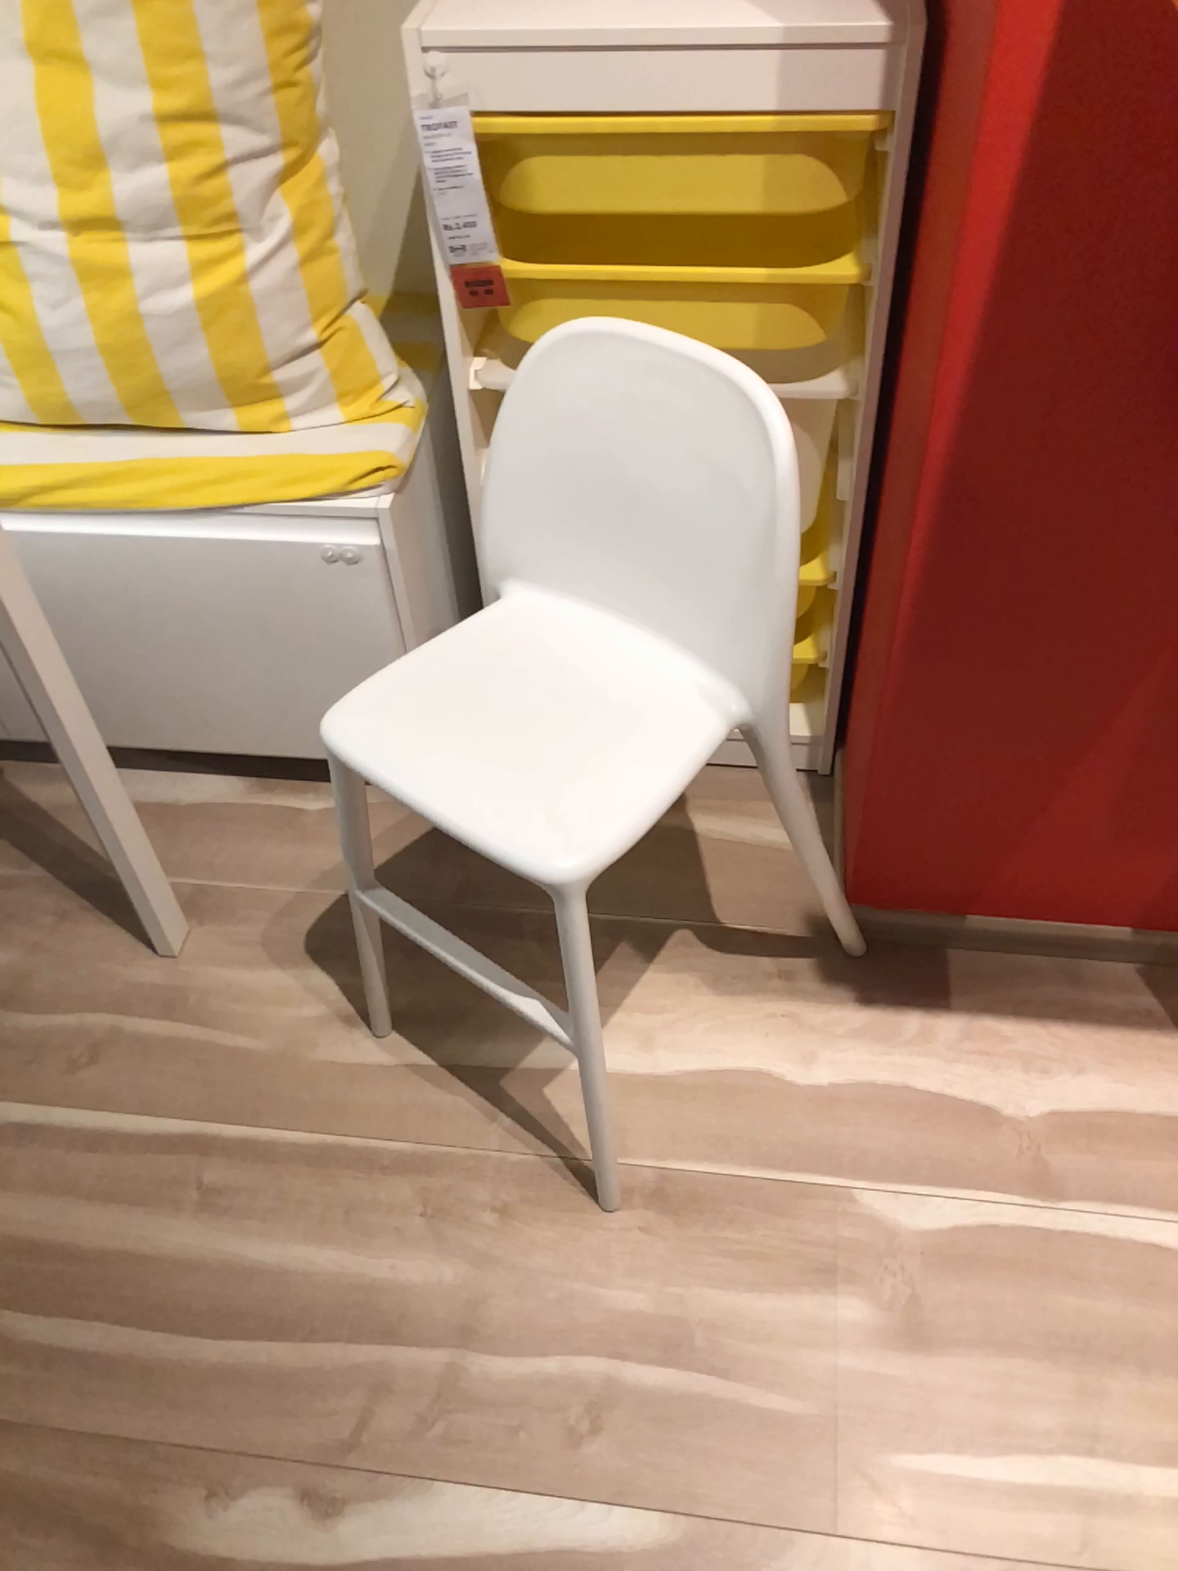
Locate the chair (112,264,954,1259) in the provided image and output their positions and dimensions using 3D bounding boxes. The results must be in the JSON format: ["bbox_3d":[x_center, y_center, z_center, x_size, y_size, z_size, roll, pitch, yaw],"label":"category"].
[{"bbox_3d":[-0.009,0.002,1.211,0.421,0.706,0.462,29,58,27],"label":"chair"}]
